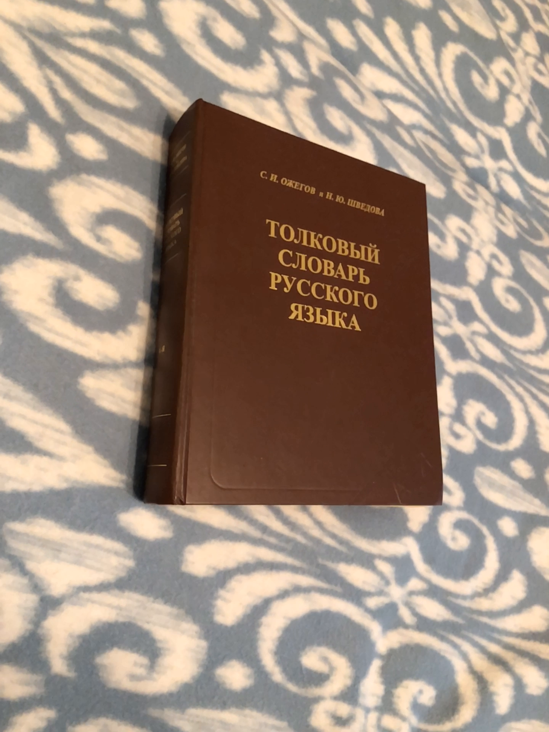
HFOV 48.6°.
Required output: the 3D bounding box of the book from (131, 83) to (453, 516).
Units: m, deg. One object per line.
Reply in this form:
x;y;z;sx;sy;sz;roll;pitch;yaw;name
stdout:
0.023;-0.031;0.448;0.221;0.067;0.270;9;75;-30;book
